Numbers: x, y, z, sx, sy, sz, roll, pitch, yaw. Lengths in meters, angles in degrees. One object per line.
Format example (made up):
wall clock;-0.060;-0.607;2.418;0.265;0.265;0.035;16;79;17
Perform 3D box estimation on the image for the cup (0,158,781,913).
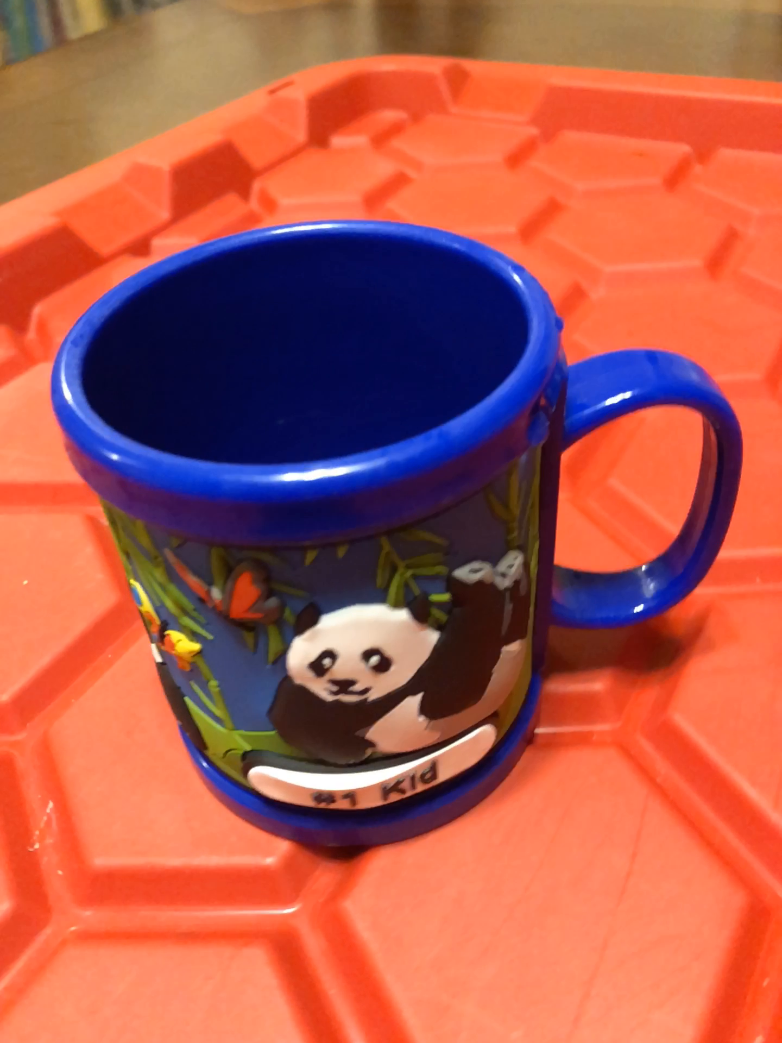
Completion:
cup;0.004;0.002;0.170;0.120;0.099;0.091;-6;42;-1
